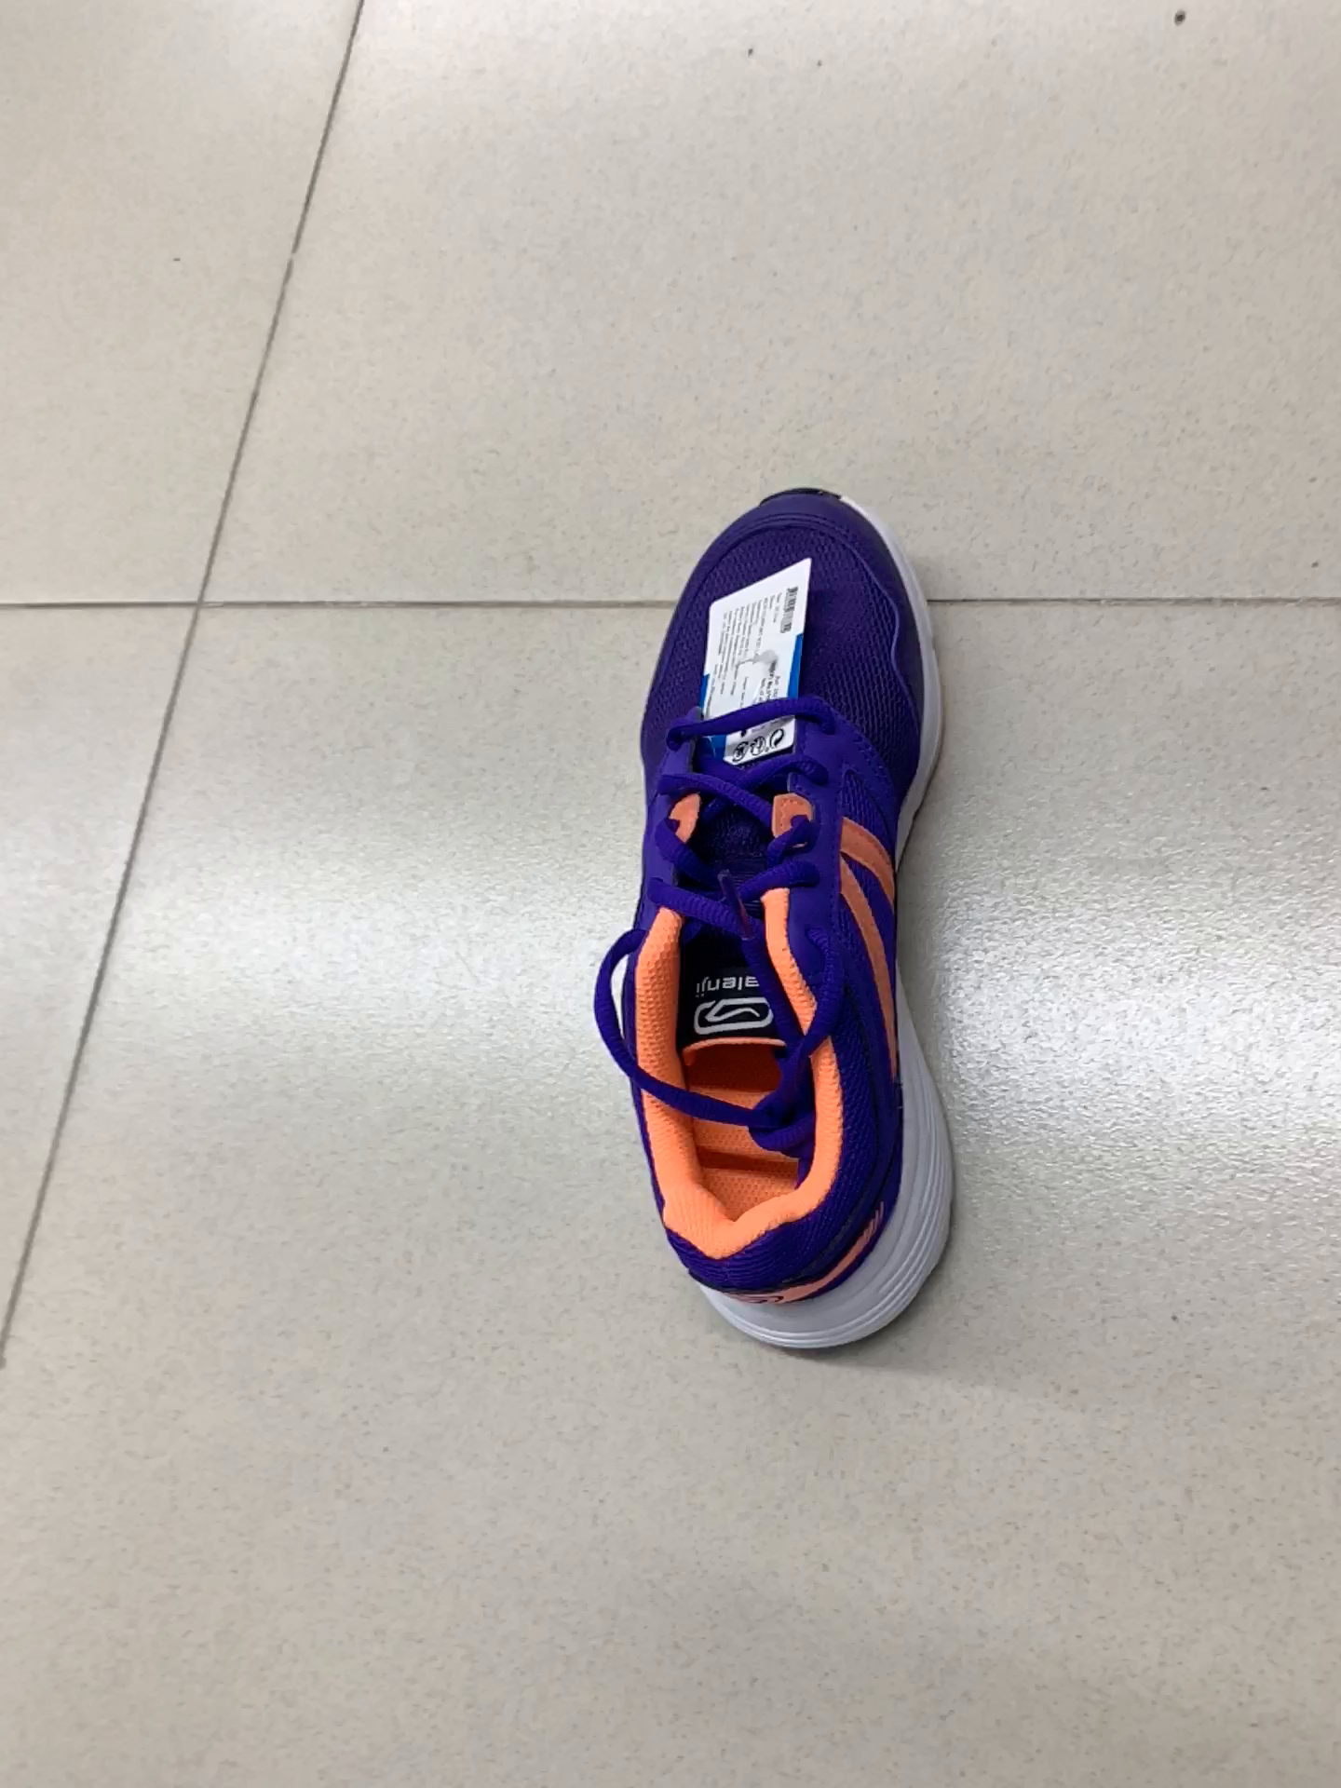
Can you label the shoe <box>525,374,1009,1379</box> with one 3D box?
[{"bbox_3d":[0.030,0.001,0.390,0.100,0.100,0.250,-6,73,19],"label":"shoe"}]
